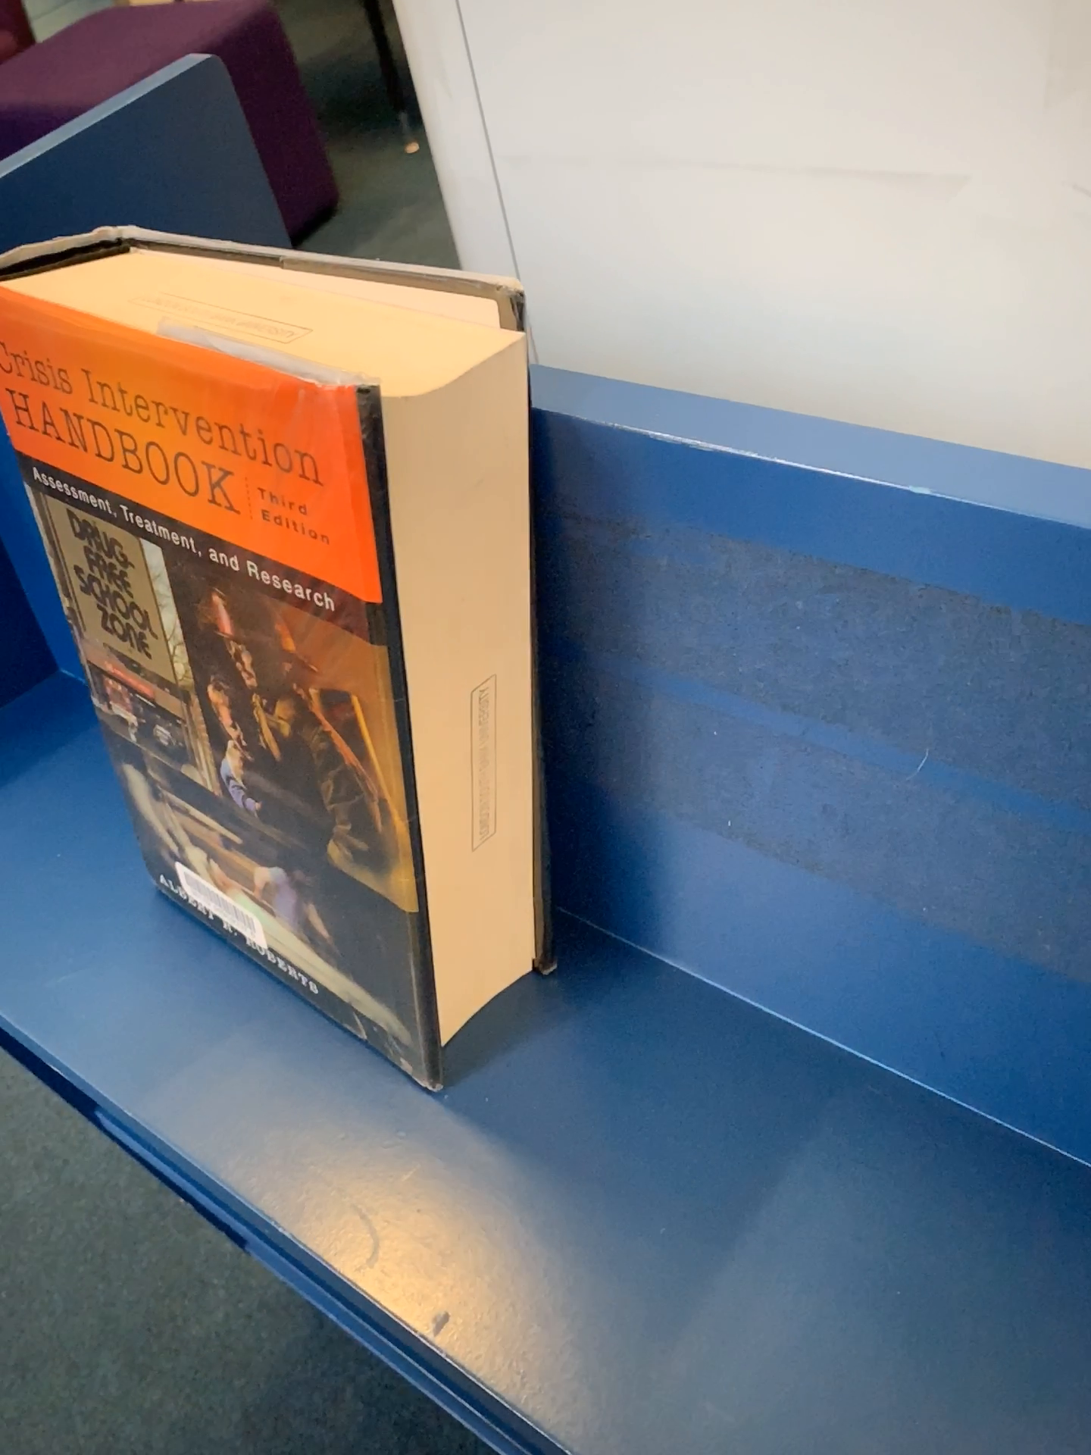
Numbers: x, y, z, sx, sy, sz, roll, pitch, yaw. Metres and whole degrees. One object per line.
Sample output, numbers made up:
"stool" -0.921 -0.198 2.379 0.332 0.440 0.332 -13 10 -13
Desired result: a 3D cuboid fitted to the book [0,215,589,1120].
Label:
"book" -0.082 -0.021 0.367 0.181 0.238 0.080 25 43 32
